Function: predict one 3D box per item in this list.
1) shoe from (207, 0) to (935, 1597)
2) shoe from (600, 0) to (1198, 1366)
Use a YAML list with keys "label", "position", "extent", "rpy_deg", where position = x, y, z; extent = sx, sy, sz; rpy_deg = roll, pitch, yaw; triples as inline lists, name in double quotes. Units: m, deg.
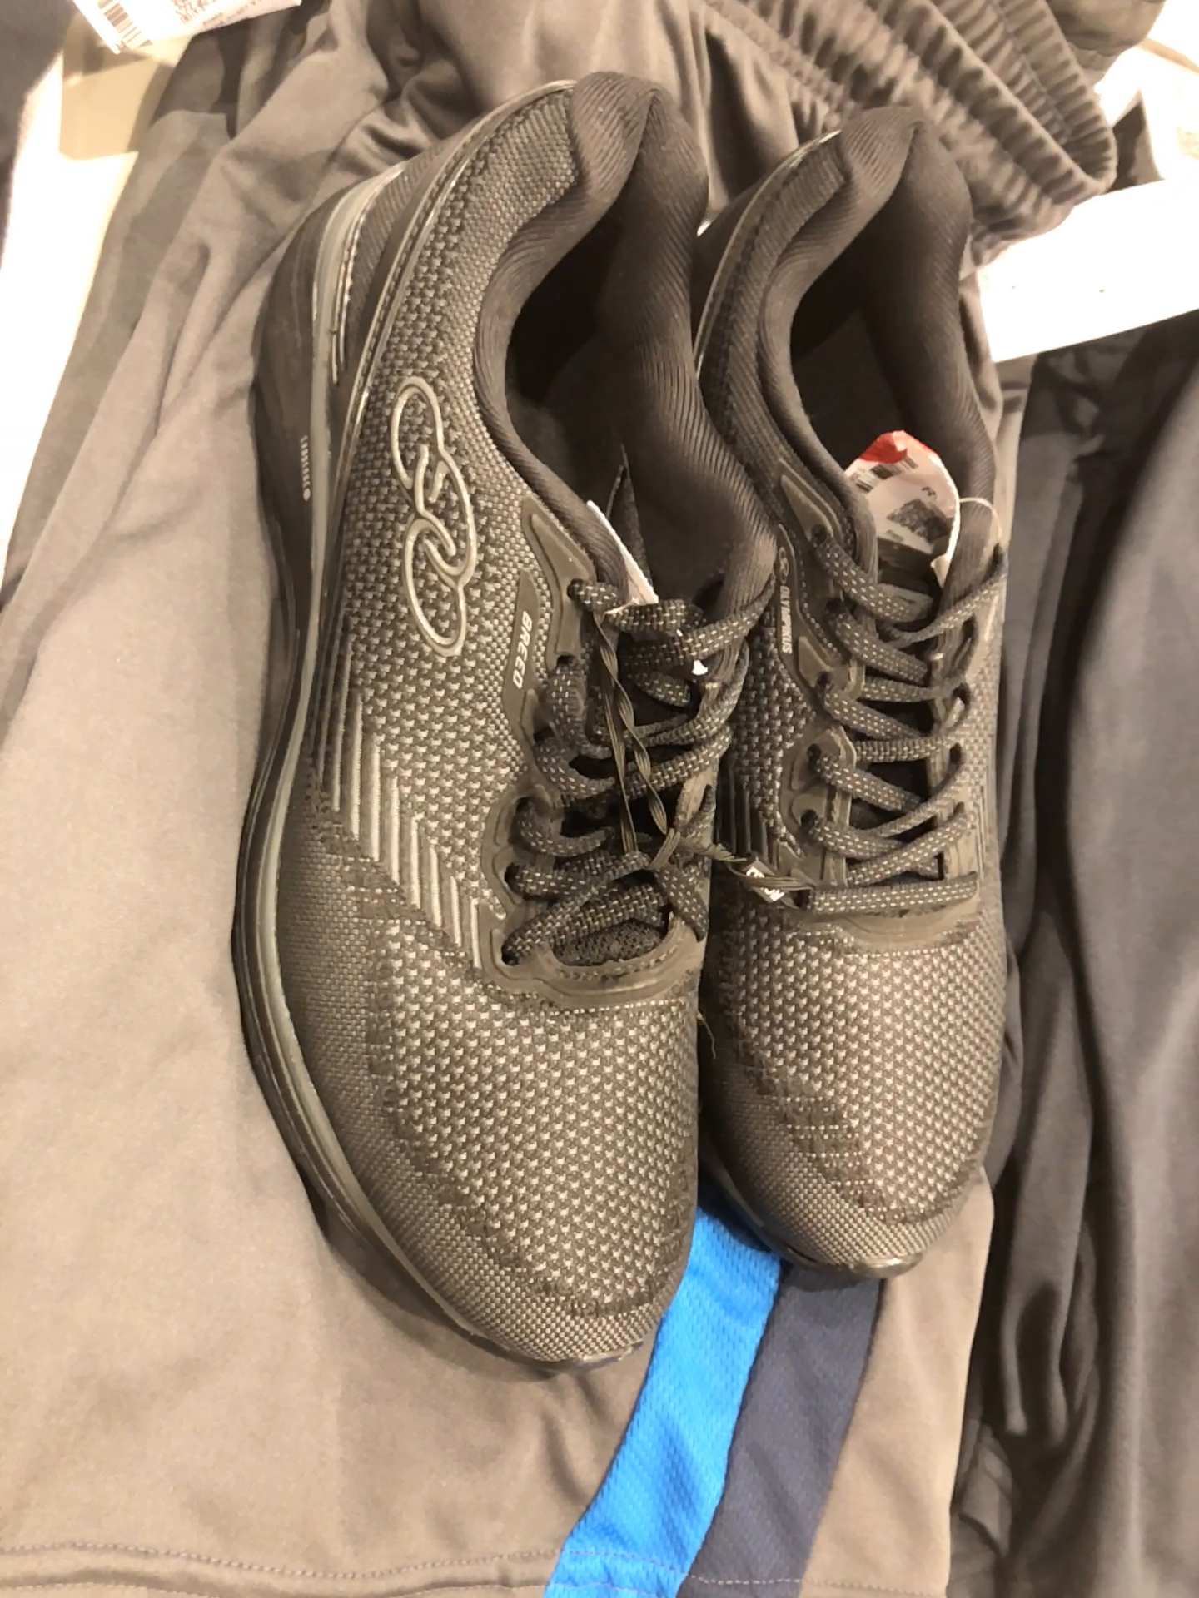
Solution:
- label: "shoe"
  position: [-0.017, -0.008, 0.277]
  extent: [0.100, 0.100, 0.270]
  rpy_deg: [0, 81, -28]
- label: "shoe"
  position: [0.077, -0.029, 0.326]
  extent: [0.100, 0.100, 0.280]
  rpy_deg: [0, 81, -28]
